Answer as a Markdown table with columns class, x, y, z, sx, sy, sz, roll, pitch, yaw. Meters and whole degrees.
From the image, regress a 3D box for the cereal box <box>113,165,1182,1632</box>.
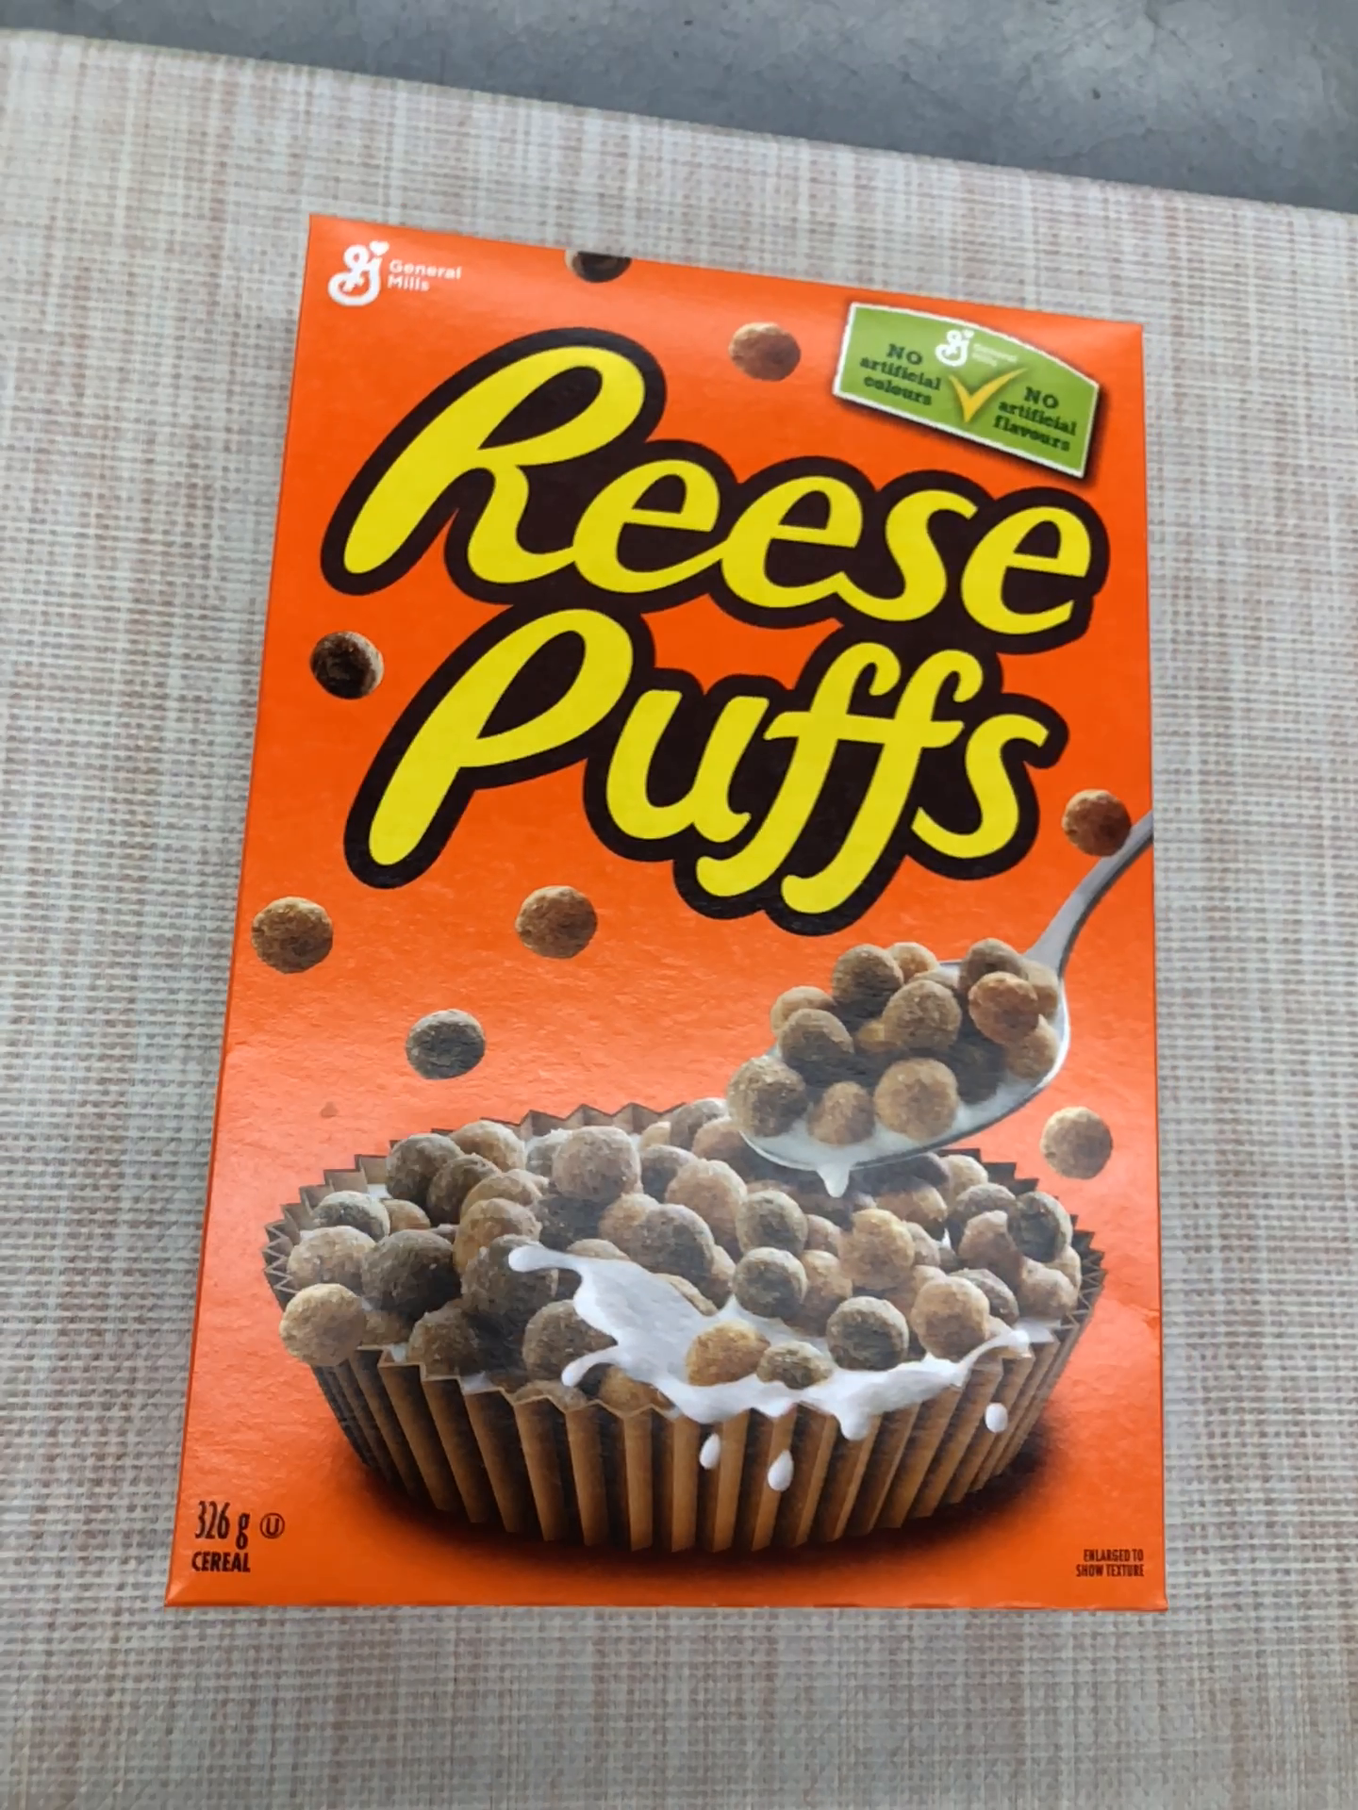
| class | x | y | z | sx | sy | sz | roll | pitch | yaw |
| --- | --- | --- | --- | --- | --- | --- | --- | --- | --- |
| cereal box | 0.001 | -0.001 | 0.330 | 0.200 | 0.060 | 0.280 | 5 | 80 | -11 |
